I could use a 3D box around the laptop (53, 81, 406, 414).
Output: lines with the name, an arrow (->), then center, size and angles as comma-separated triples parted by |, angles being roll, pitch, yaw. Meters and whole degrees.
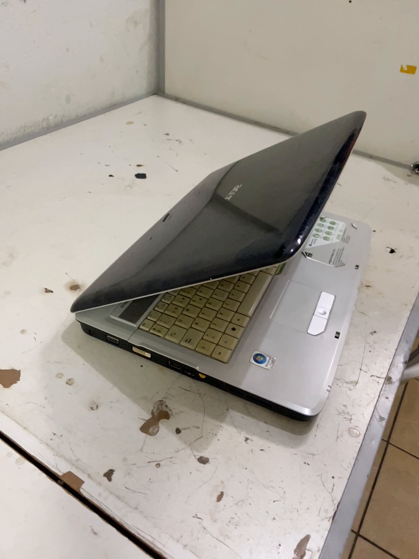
laptop -> 0.056, -0.089, 0.536 | 0.277, 0.164, 0.382 | 19, 42, 17
